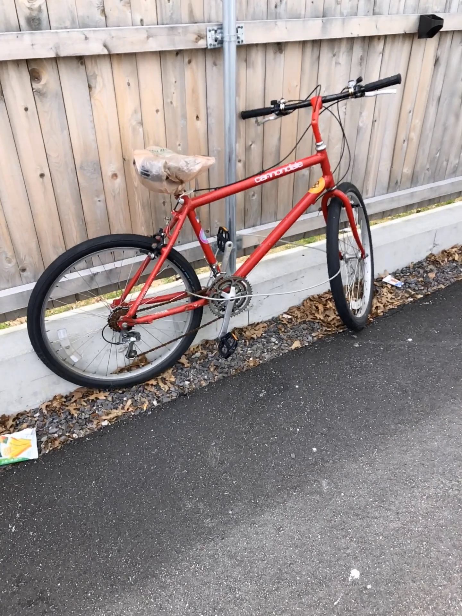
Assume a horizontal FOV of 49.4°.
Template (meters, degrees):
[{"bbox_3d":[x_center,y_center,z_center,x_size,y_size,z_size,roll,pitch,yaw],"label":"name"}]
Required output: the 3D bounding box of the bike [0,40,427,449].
[{"bbox_3d":[-0.042,-0.361,1.950,1.478,1.001,0.595,-20,35,-23],"label":"bike"}]
